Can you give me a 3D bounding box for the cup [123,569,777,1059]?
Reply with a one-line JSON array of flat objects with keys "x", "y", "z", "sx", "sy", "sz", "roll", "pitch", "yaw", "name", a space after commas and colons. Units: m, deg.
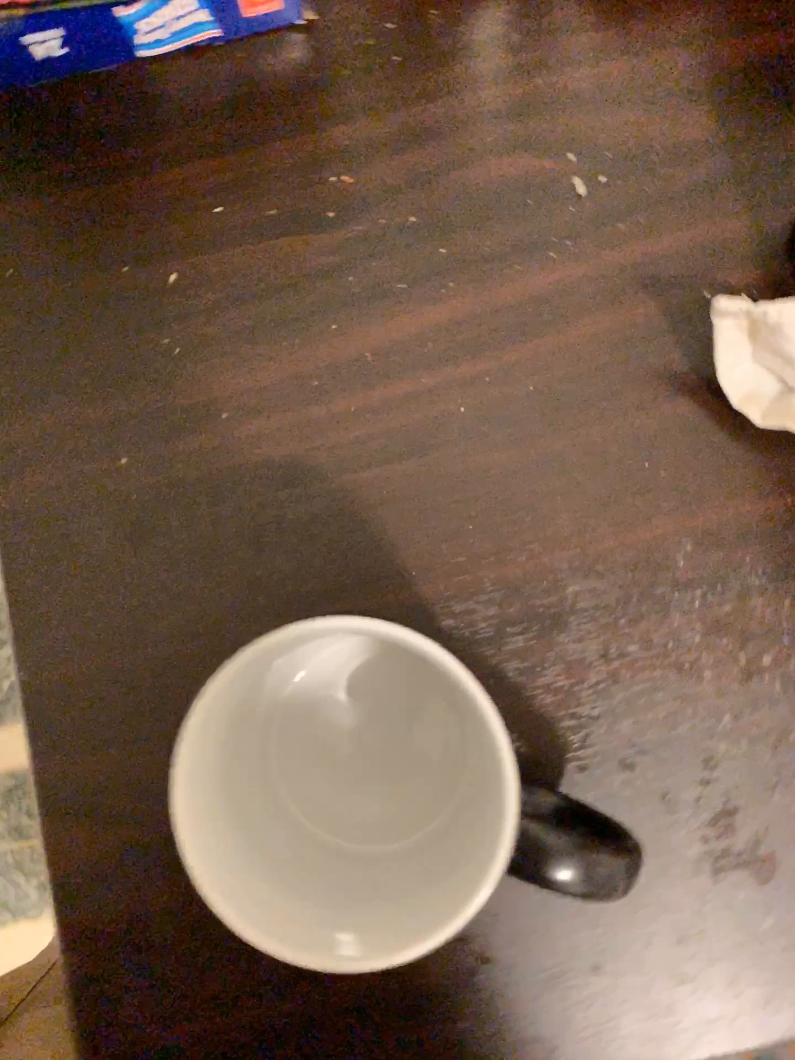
[{"x": 0.014, "y": 0.074, "z": 0.236, "sx": 0.130, "sy": 0.100, "sz": 0.080, "roll": 19, "pitch": 84, "yaw": 5, "name": "cup"}]
